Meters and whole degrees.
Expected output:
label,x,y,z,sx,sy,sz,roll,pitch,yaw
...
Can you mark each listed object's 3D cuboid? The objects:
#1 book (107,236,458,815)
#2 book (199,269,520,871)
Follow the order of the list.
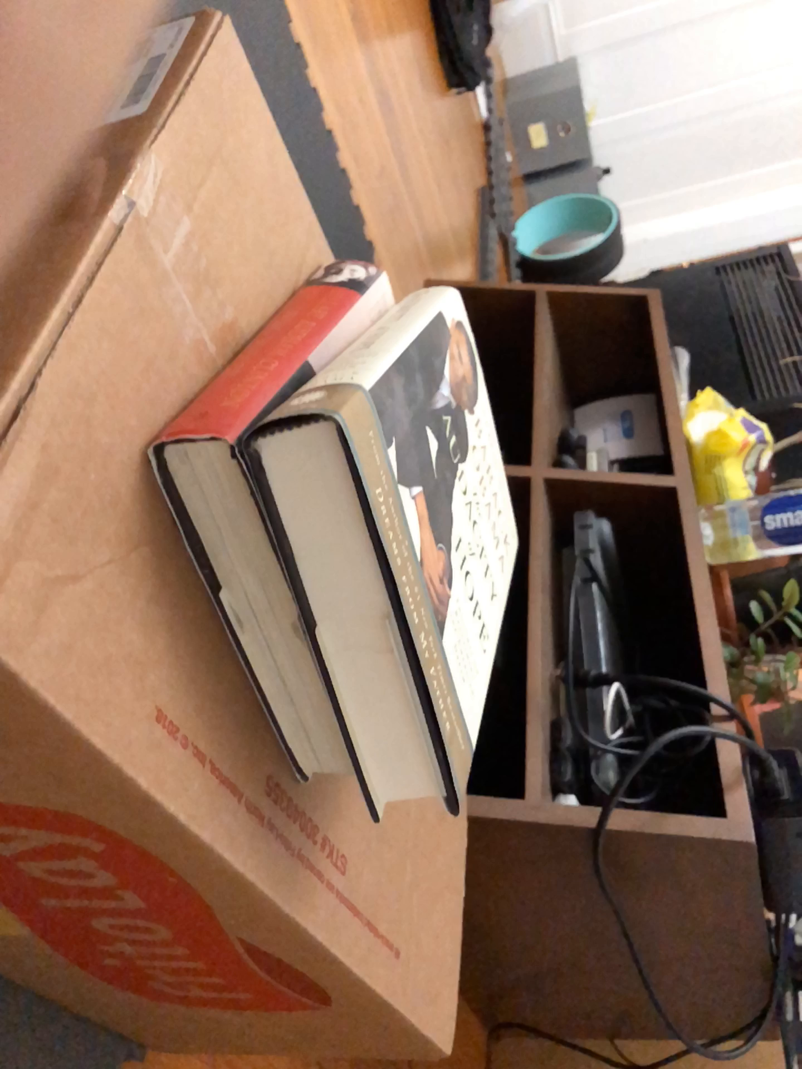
label,x,y,z,sx,sy,sz,roll,pitch,yaw
book,-0.029,-0.024,0.424,0.251,0.040,0.170,-70,147,-57
book,0.005,-0.007,0.422,0.251,0.040,0.190,-63,141,-62
